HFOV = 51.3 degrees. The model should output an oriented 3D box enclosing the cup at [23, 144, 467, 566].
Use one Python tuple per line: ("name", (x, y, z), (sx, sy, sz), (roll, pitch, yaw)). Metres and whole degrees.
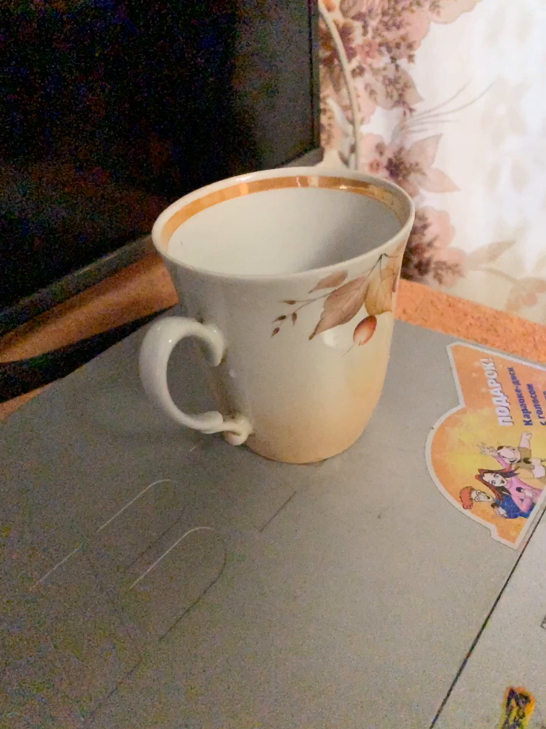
("cup", (-0.002, -0.017, 0.216), (0.100, 0.091, 0.114), (20, 43, 33))
